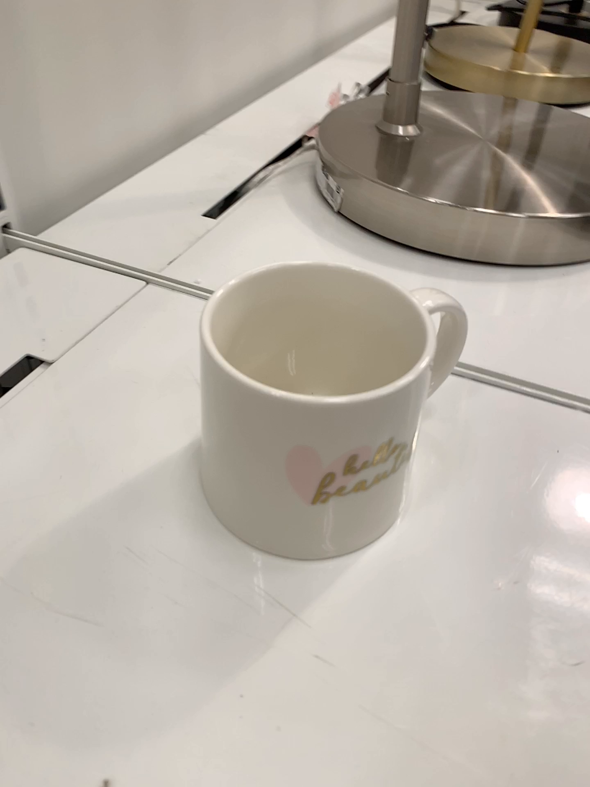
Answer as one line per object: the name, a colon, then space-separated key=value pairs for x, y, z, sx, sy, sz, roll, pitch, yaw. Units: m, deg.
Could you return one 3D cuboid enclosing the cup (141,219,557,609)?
cup: x=0.021 y=0.002 z=0.288 sx=0.140 sy=0.097 sz=0.105 roll=-24 pitch=51 yaw=-24
